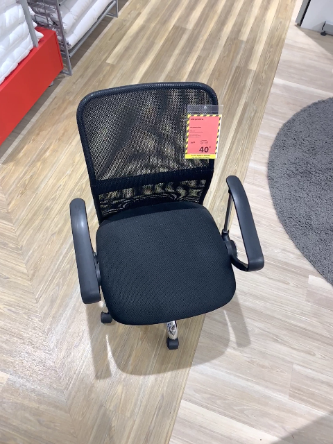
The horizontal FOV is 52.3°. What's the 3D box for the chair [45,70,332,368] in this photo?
[{"bbox_3d":[0.014,0.063,1.187,0.640,0.868,0.602,-8,60,-9],"label":"chair"}]
